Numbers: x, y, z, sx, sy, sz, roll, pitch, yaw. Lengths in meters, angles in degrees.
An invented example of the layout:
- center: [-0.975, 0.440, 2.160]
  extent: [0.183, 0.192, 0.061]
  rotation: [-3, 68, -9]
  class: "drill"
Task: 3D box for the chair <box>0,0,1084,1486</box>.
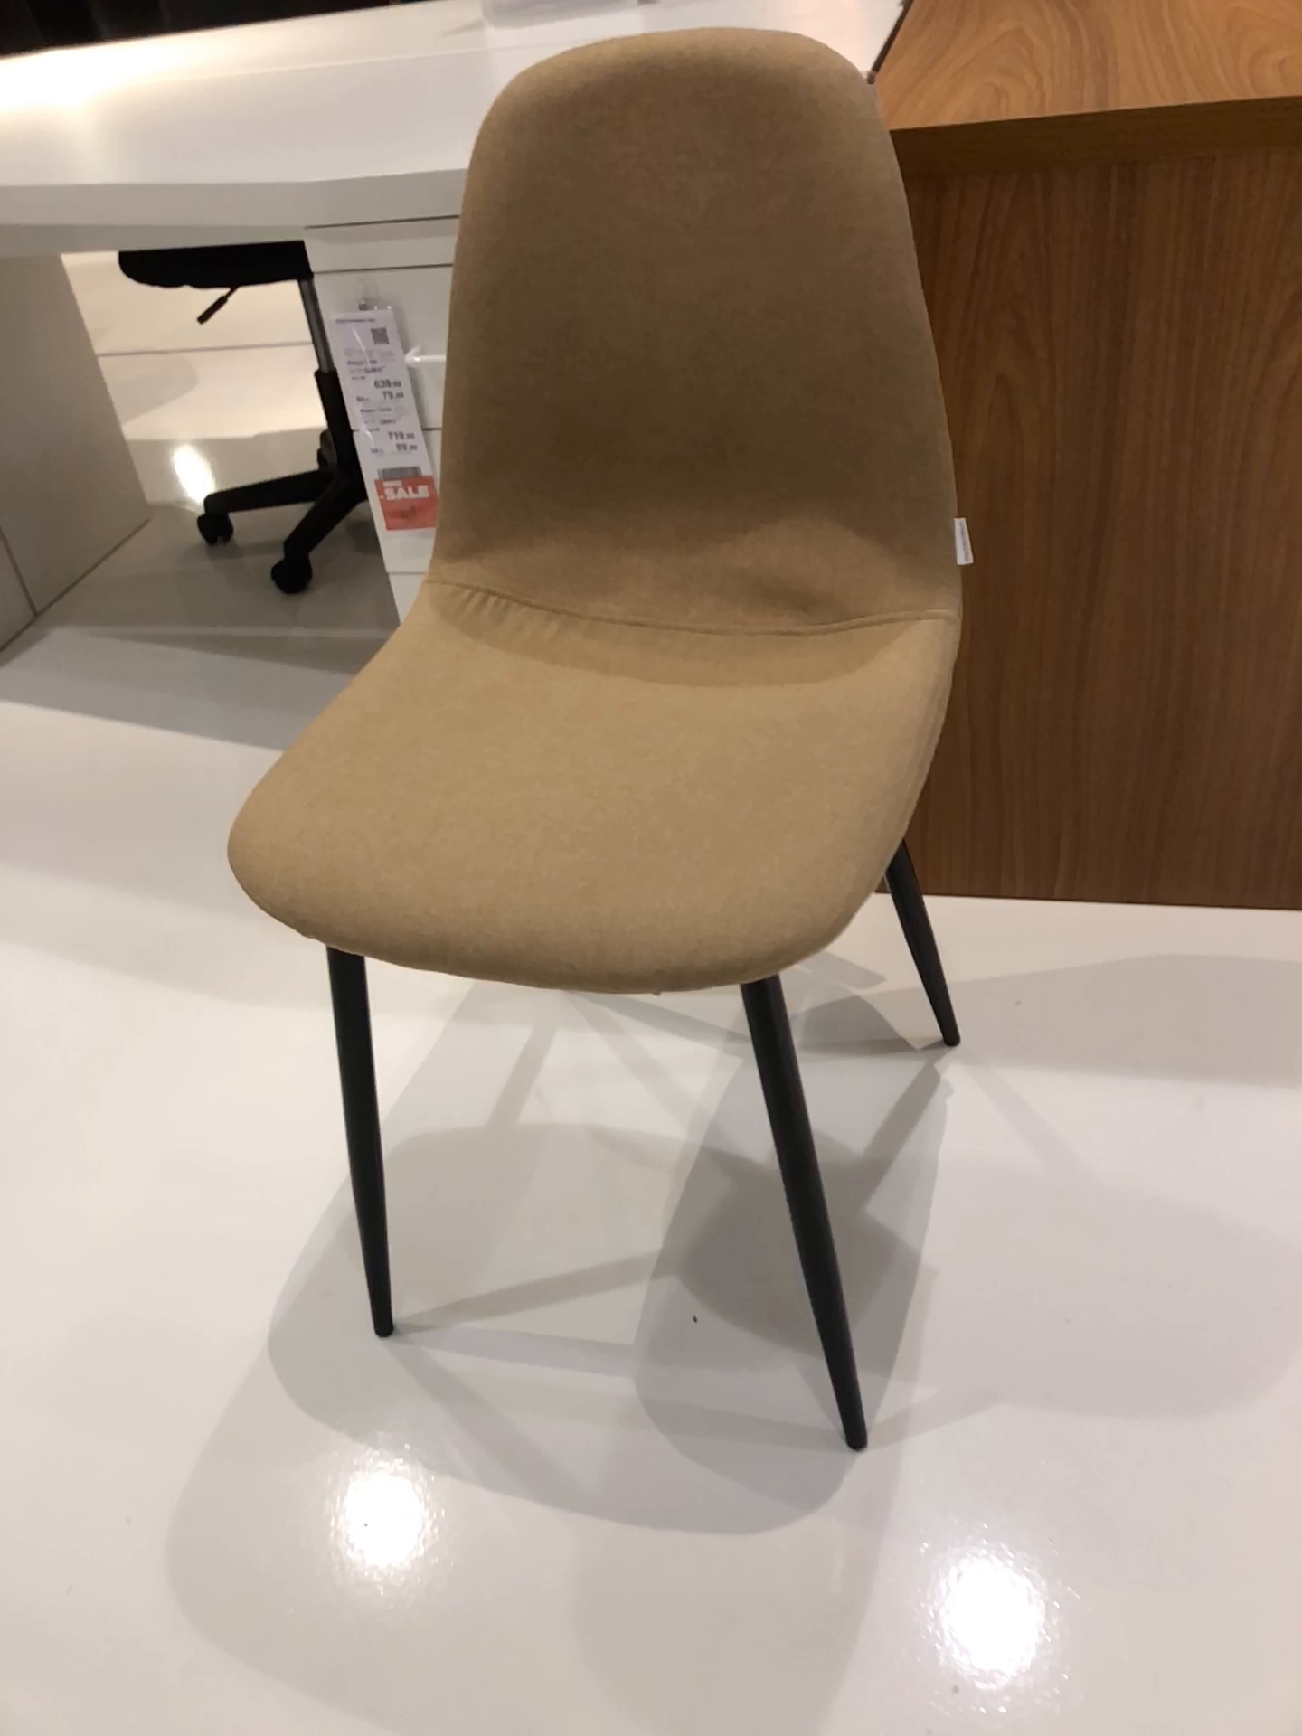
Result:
- center: [-0.002, -0.089, 0.982]
  extent: [0.480, 0.784, 0.524]
  rotation: [6, 39, 20]
  class: "chair"
